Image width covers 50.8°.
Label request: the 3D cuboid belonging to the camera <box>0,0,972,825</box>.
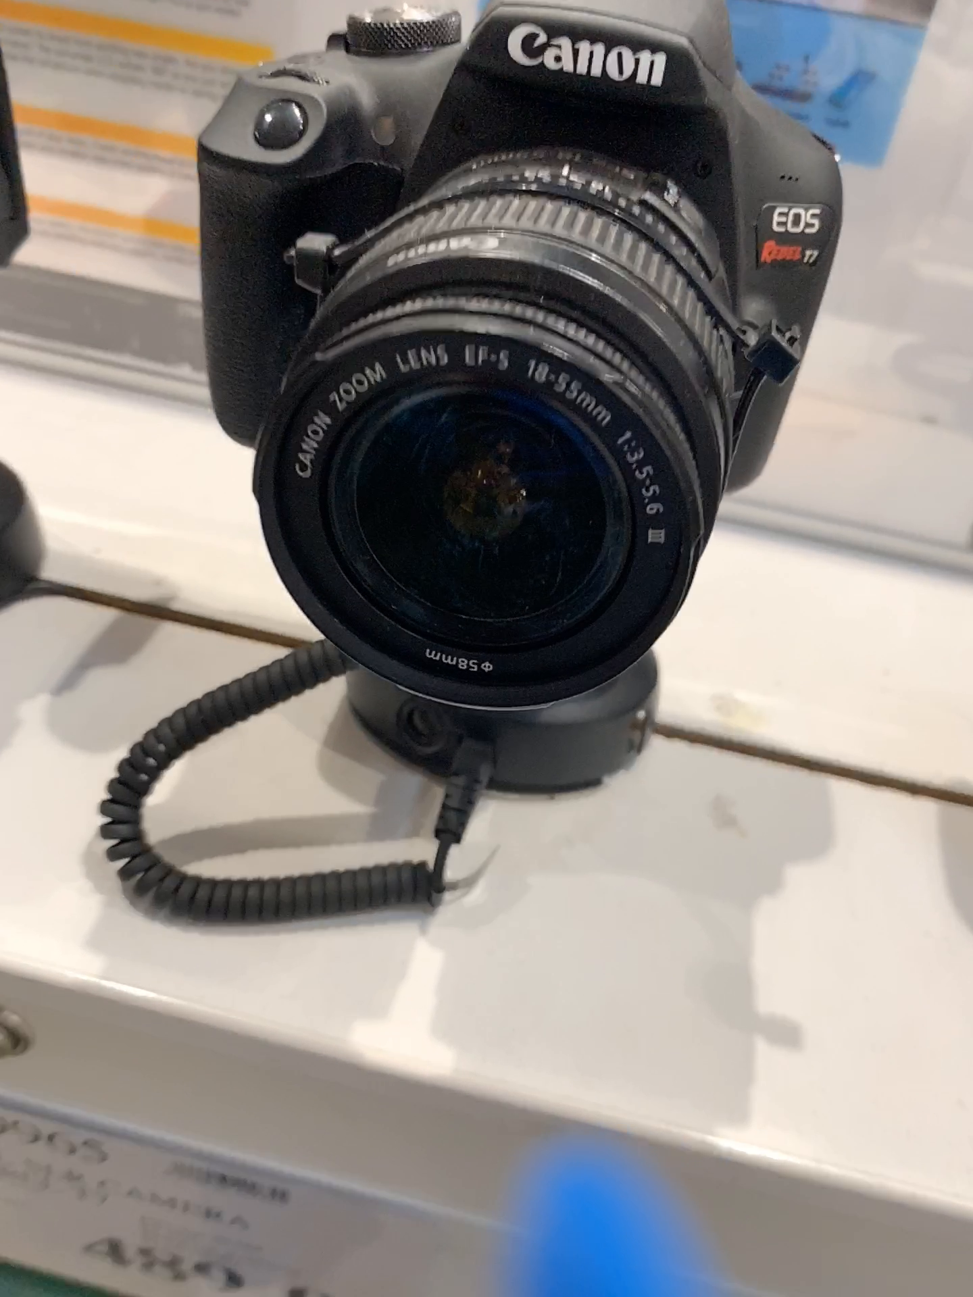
[{"bbox_3d":[0.005,-0.065,0.181,0.130,0.089,0.141,13,38,3],"label":"camera"}]
